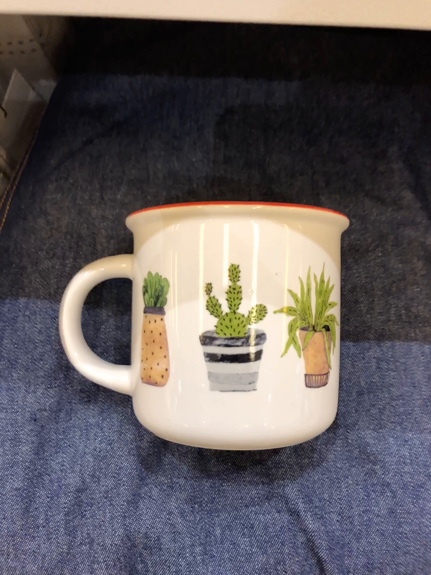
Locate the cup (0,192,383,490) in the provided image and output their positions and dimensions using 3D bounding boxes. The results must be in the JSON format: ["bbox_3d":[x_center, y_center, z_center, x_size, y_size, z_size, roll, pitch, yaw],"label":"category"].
[{"bbox_3d":[-0.014,0.021,0.210,0.140,0.090,0.100,0,84,1],"label":"cup"}]
